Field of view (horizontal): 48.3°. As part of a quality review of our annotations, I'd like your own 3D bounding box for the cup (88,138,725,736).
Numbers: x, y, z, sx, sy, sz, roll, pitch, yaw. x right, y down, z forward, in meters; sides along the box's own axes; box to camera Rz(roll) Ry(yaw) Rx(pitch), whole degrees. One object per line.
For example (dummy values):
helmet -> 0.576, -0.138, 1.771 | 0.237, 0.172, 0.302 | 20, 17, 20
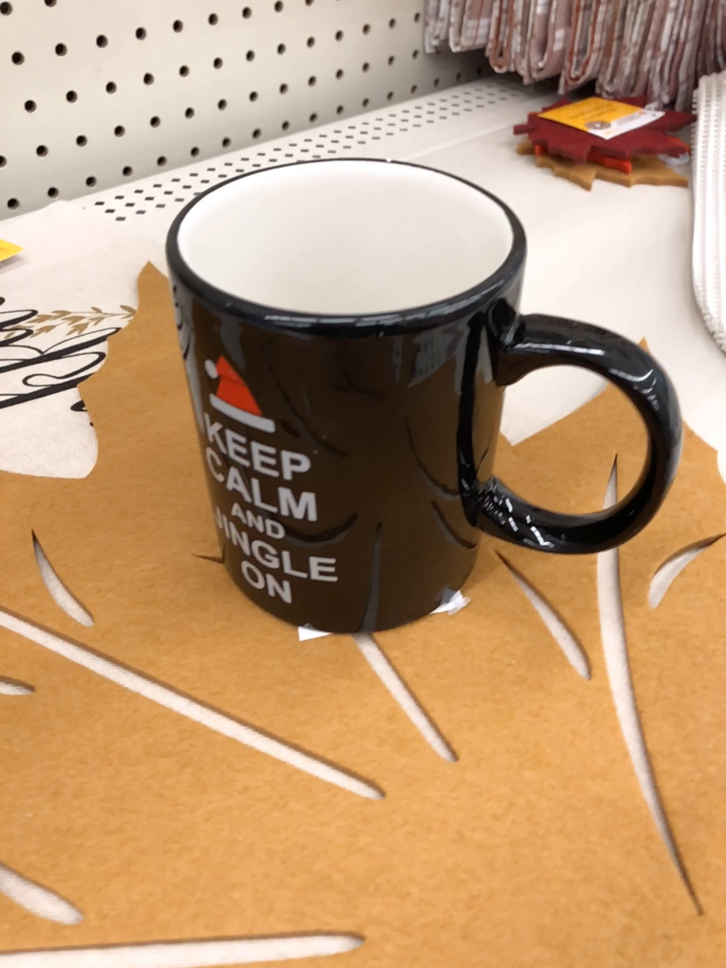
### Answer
cup -> 0.017, -0.017, 0.228 | 0.130, 0.110, 0.090 | 14, 44, 15
